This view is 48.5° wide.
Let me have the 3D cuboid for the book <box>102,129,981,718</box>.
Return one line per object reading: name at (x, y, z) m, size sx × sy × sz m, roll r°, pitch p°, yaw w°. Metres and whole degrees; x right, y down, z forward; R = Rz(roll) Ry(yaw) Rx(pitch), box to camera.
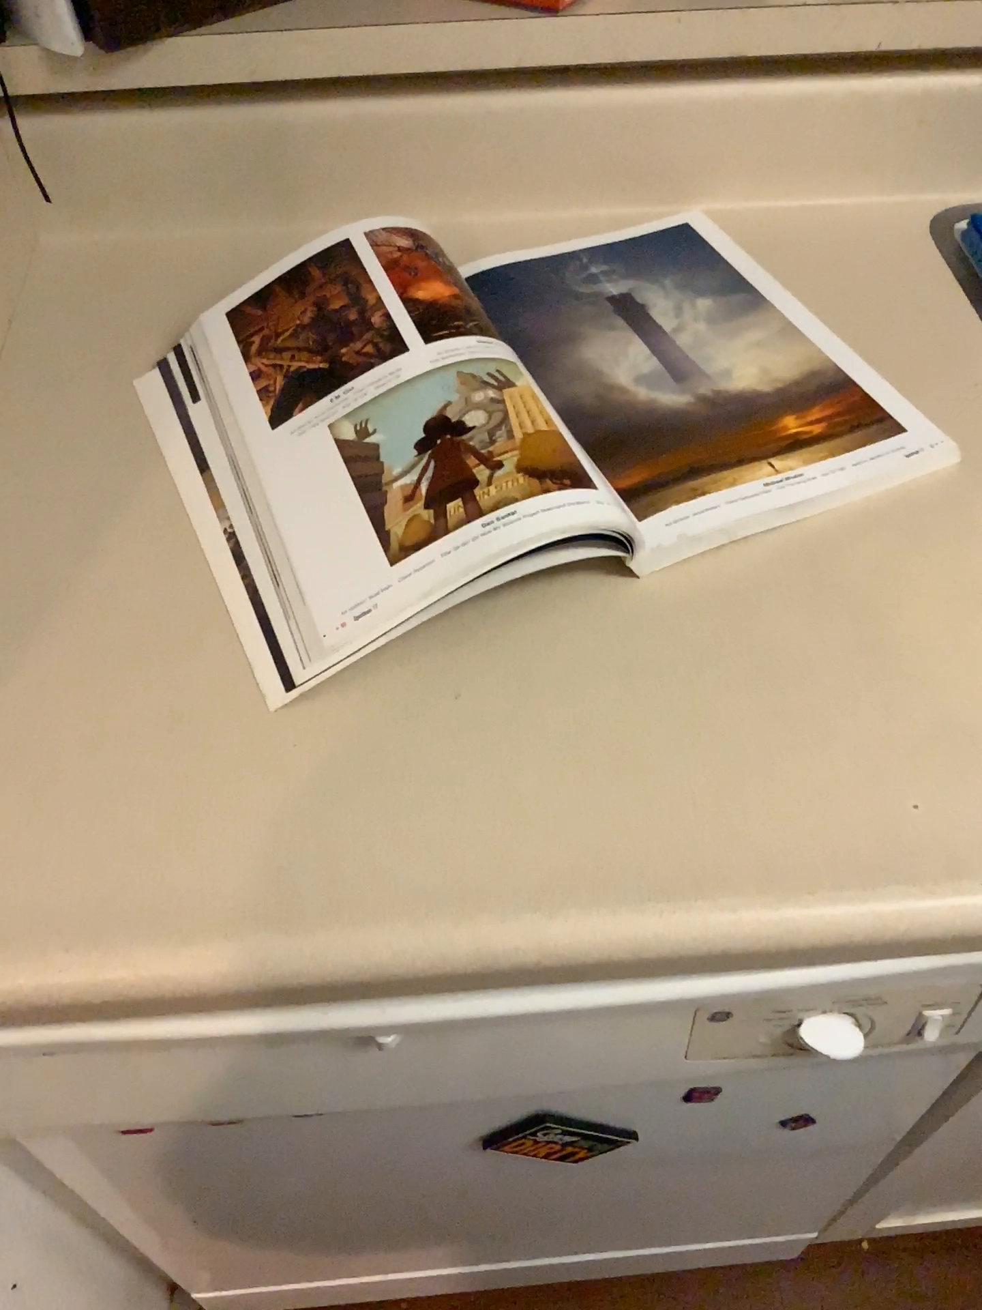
book at (0.026, -0.176, 0.678) m, size 0.450 × 0.070 × 0.320 m, roll -20°, pitch 54°, yaw -15°
